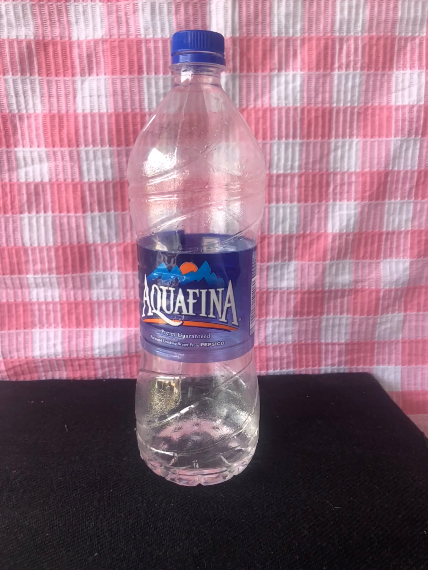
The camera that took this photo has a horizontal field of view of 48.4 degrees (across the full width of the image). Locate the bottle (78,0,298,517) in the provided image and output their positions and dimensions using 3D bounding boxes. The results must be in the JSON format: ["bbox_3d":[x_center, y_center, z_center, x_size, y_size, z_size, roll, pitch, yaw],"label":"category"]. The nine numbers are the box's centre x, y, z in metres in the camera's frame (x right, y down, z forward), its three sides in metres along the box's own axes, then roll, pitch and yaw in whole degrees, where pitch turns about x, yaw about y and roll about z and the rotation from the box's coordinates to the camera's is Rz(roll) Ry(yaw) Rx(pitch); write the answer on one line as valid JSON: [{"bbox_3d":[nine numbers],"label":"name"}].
[{"bbox_3d":[-0.013,-0.009,0.275,0.090,0.259,0.070,7,18,17],"label":"bottle"}]
